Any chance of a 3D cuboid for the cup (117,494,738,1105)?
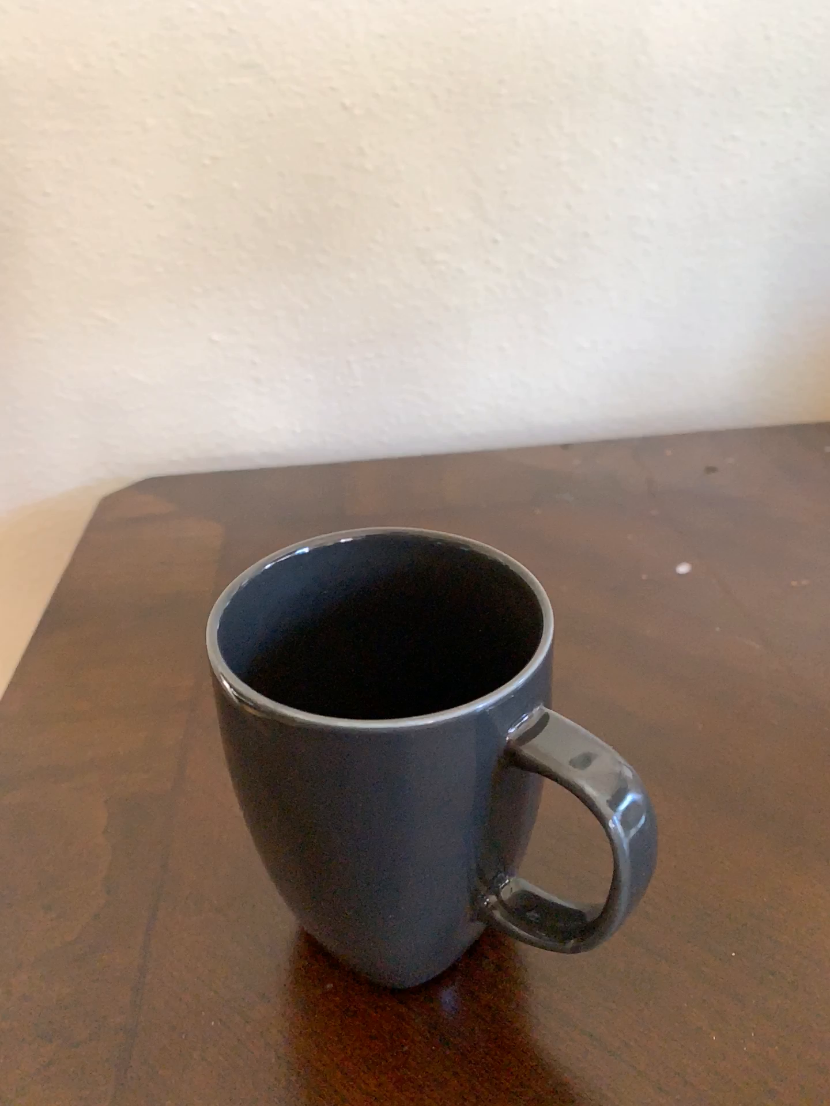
[{"bbox_3d":[0.006,0.057,0.216,0.107,0.096,0.089,18,36,33],"label":"cup"}]
